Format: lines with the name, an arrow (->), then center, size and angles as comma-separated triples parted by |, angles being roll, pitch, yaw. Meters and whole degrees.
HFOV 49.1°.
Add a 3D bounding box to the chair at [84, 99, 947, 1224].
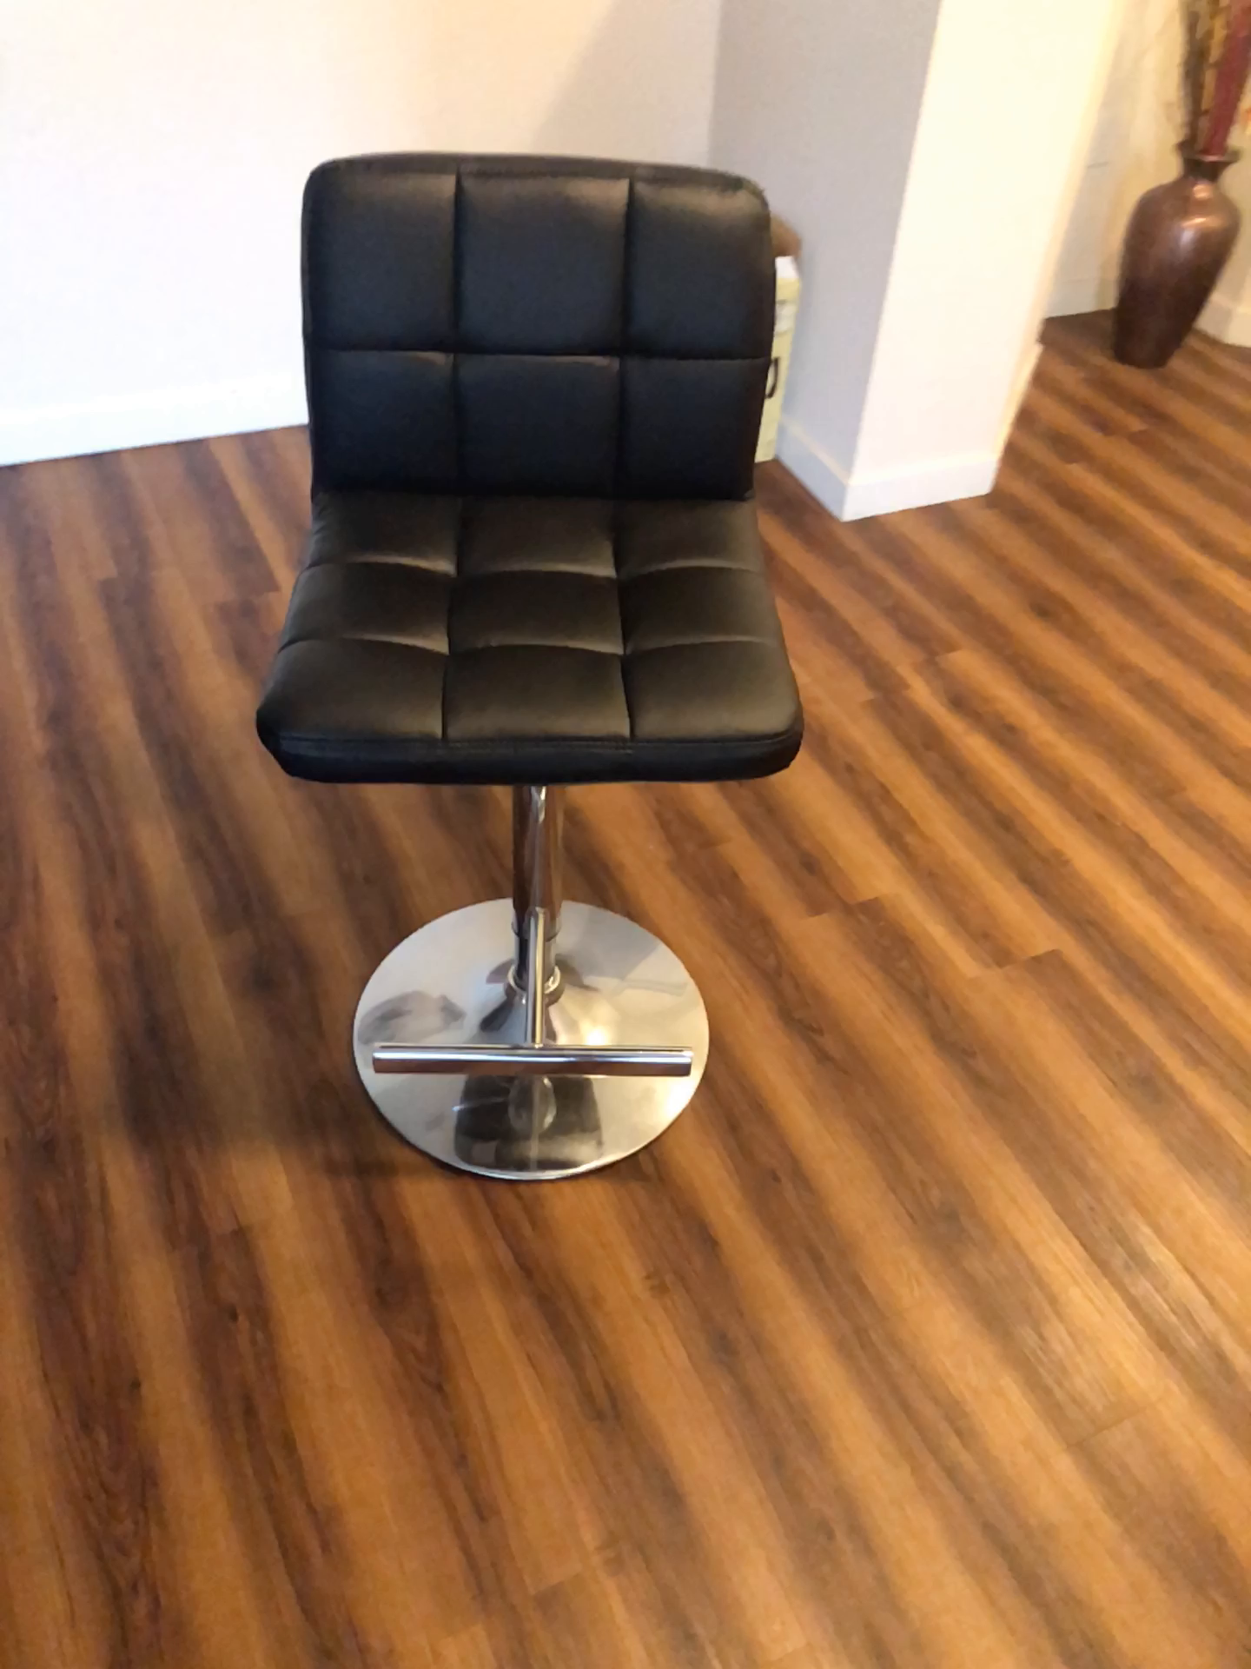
chair -> -0.100, -0.122, 1.381 | 0.534, 0.952, 0.571 | 1, 42, -4
